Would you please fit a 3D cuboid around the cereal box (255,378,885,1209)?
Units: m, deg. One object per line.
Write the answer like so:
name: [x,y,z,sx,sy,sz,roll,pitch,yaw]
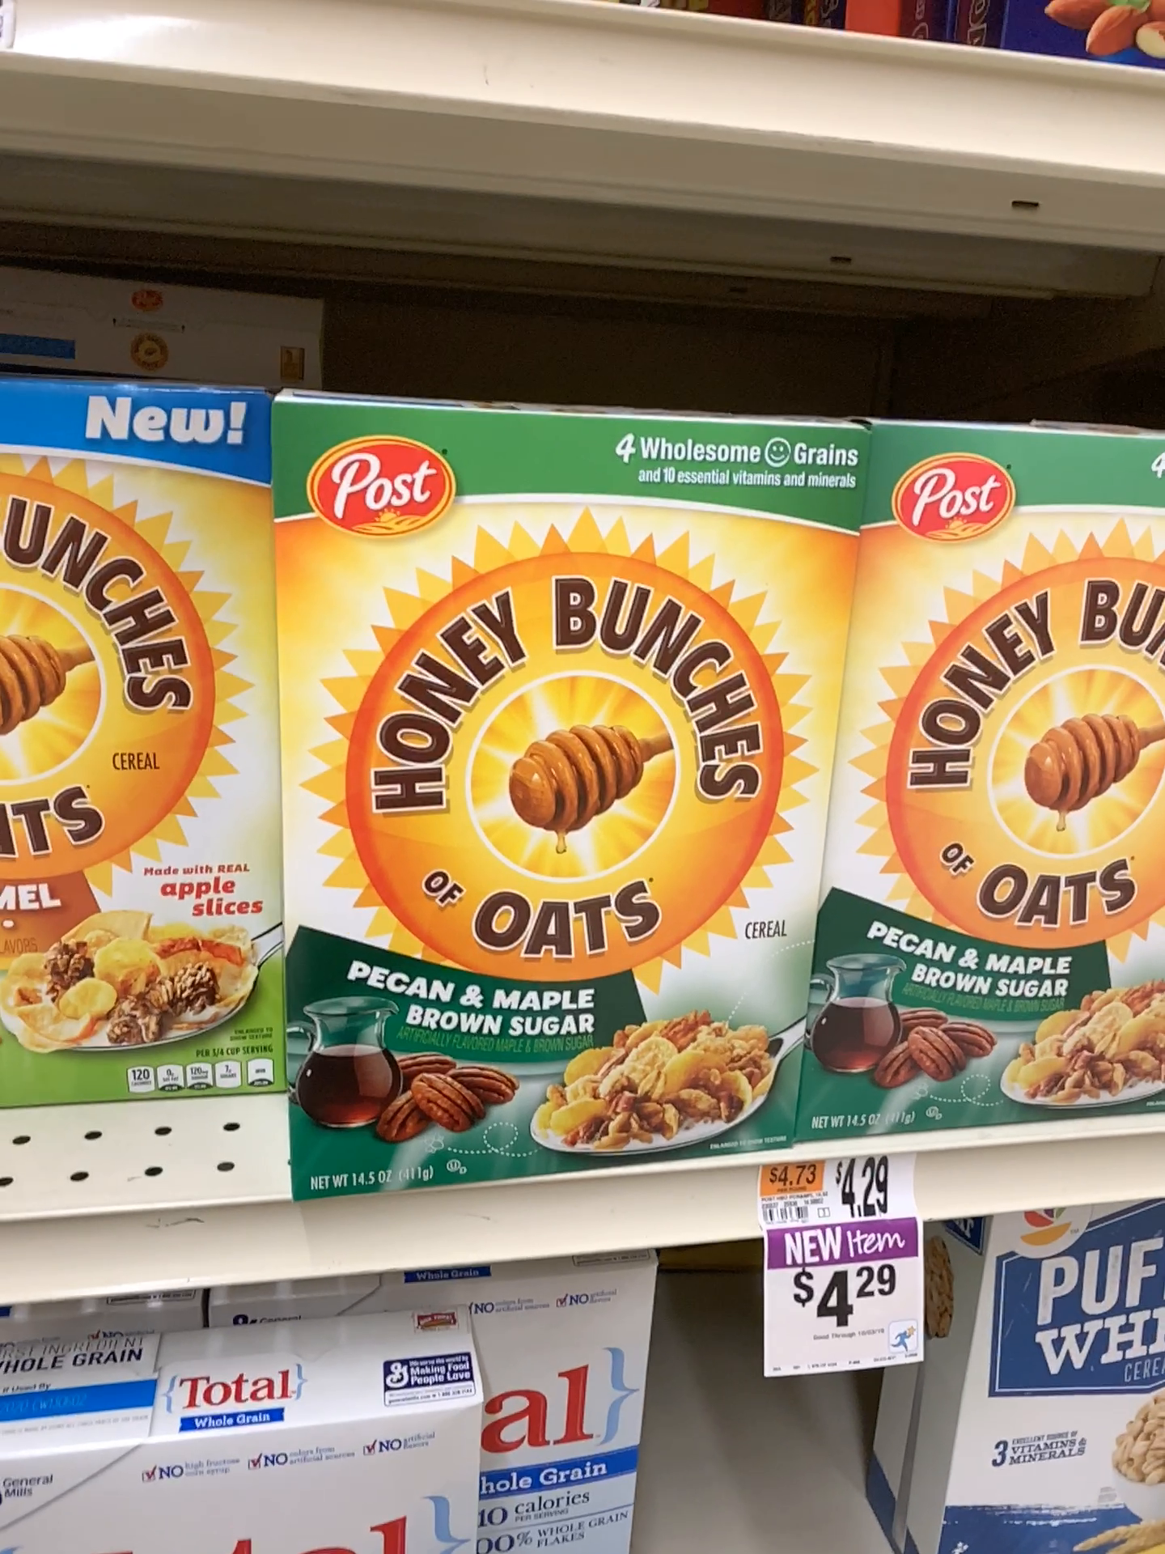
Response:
cereal box: [-0.012,0.007,0.436,0.200,0.279,0.060,-2,18,-15]
